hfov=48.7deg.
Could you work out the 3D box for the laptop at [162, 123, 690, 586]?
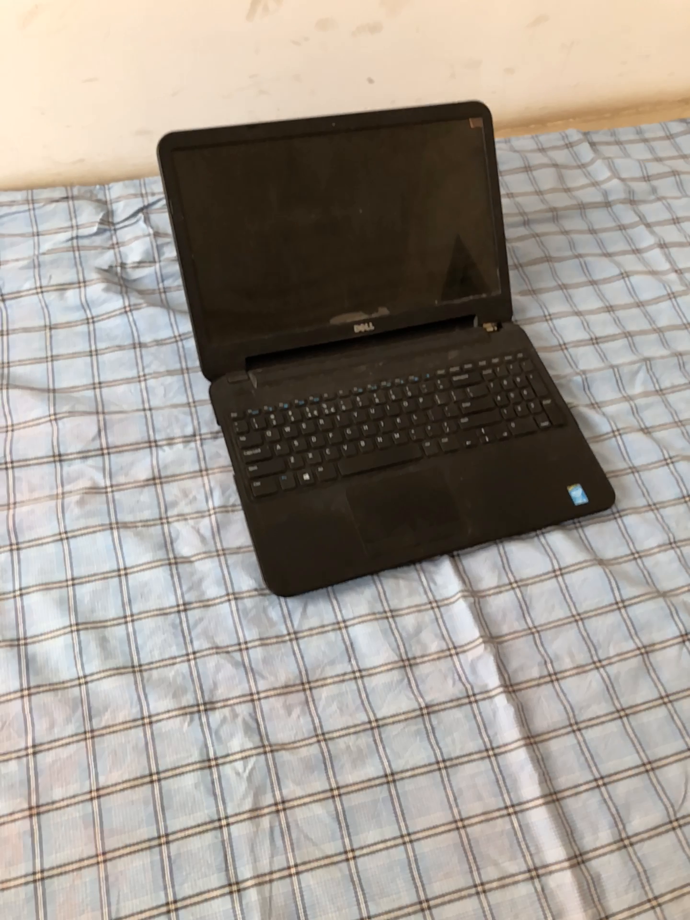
[{"bbox_3d":[0.047,-0.132,0.762,0.356,0.163,0.415,-12,58,-16],"label":"laptop"}]
